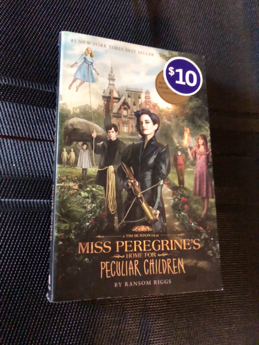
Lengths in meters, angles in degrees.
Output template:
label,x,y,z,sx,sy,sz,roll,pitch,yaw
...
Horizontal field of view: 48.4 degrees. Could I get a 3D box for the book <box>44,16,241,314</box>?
label,x,y,z,sx,sy,sz,roll,pitch,yaw
book,0.012,-0.007,0.265,0.160,0.050,0.230,3,80,-17
